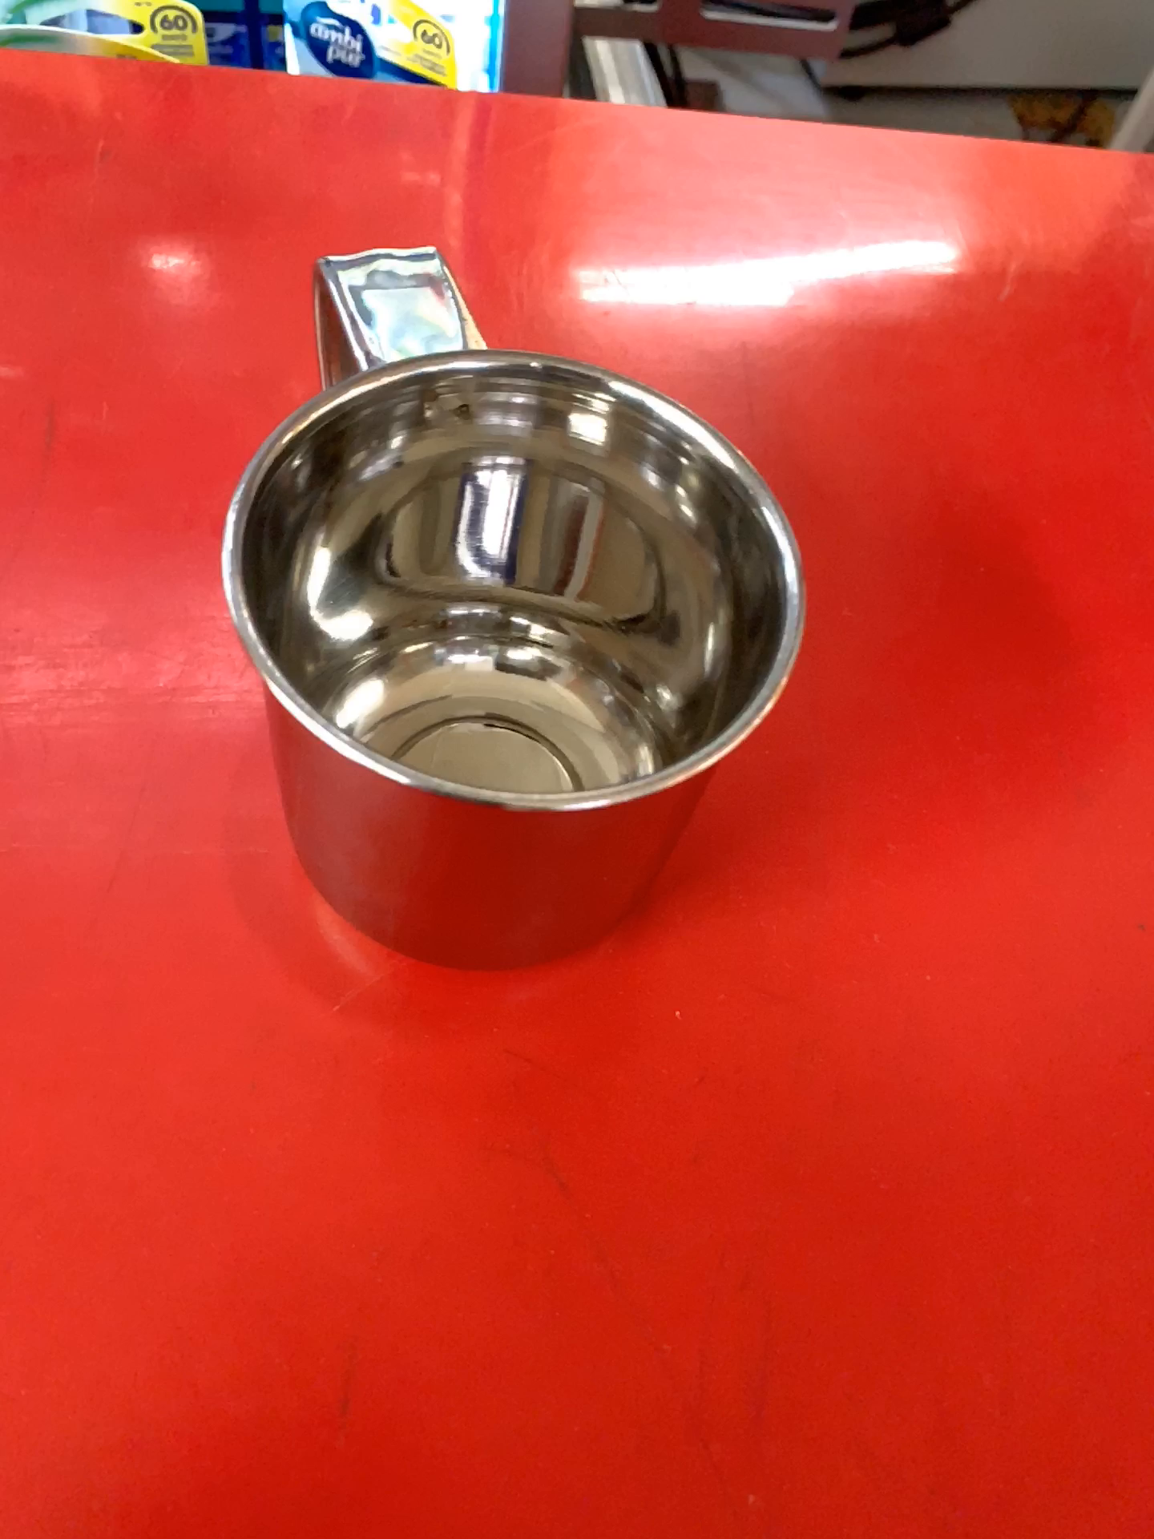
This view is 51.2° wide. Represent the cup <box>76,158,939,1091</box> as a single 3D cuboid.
[{"bbox_3d":[-0.018,-0.025,0.181,0.079,0.065,0.110,-14,62,-17],"label":"cup"}]
